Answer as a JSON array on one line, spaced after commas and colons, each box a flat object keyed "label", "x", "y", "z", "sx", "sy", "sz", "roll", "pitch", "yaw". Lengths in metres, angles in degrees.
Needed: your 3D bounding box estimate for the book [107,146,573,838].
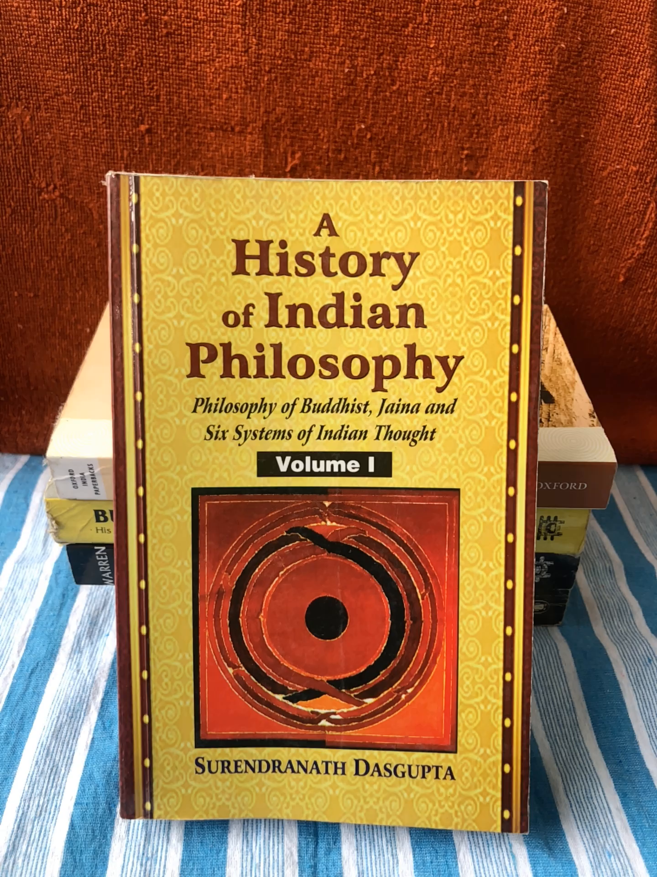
[{"label": "book", "x": 0.003, "y": 0.018, "z": 0.254, "sx": 0.141, "sy": 0.216, "sz": 0.048, "roll": 0, "pitch": 5, "yaw": 3}]
